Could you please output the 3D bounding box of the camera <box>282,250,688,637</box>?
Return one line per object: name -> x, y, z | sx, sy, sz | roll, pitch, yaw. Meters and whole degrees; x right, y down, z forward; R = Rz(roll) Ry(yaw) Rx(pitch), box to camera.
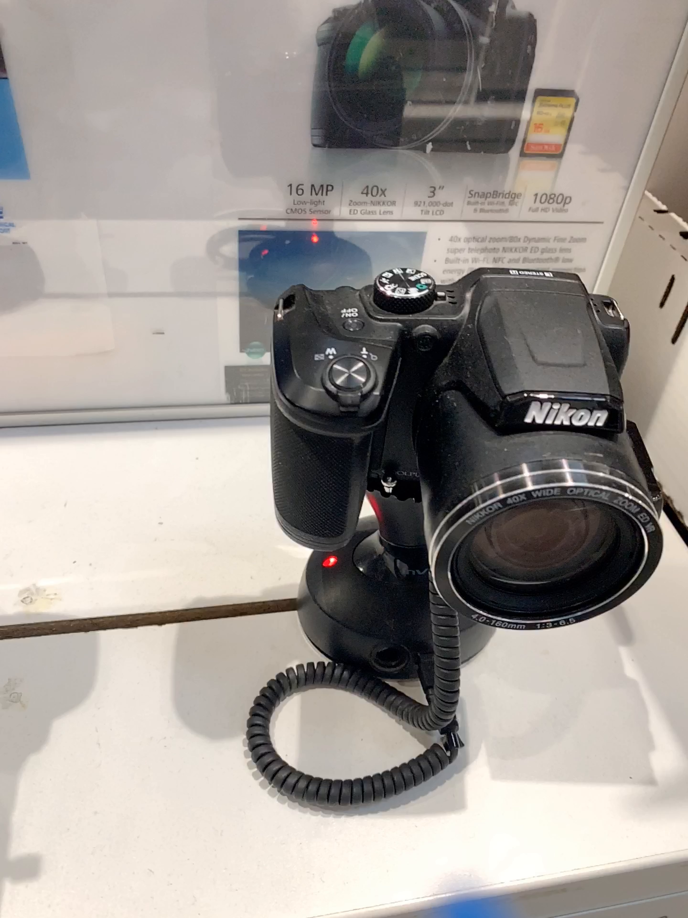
camera -> 0.039, -0.002, 0.205 | 0.110, 0.089, 0.061 | 0, 42, -7
